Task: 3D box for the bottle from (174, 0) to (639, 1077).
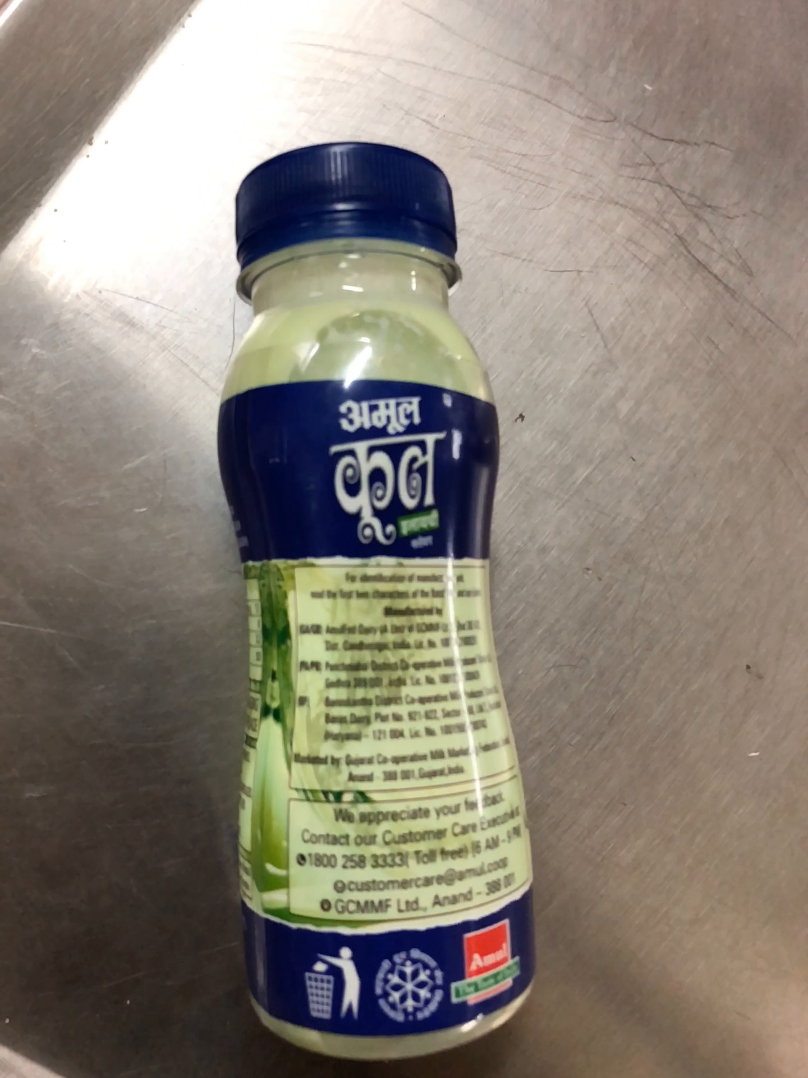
[{"bbox_3d":[-0.003,-0.010,0.131,0.050,0.040,0.150,-3,87,-9],"label":"bottle"}]
